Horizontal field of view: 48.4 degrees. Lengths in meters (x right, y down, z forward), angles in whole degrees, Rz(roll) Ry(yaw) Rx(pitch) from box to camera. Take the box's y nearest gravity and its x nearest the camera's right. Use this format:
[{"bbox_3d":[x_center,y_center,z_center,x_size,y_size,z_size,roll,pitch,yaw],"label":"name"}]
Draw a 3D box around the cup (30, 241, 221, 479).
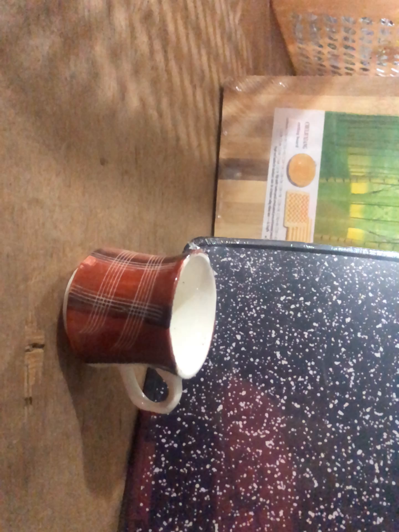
[{"bbox_3d":[-0.030,0.037,0.212,0.060,0.060,0.090,-31,120,-66],"label":"cup"}]
